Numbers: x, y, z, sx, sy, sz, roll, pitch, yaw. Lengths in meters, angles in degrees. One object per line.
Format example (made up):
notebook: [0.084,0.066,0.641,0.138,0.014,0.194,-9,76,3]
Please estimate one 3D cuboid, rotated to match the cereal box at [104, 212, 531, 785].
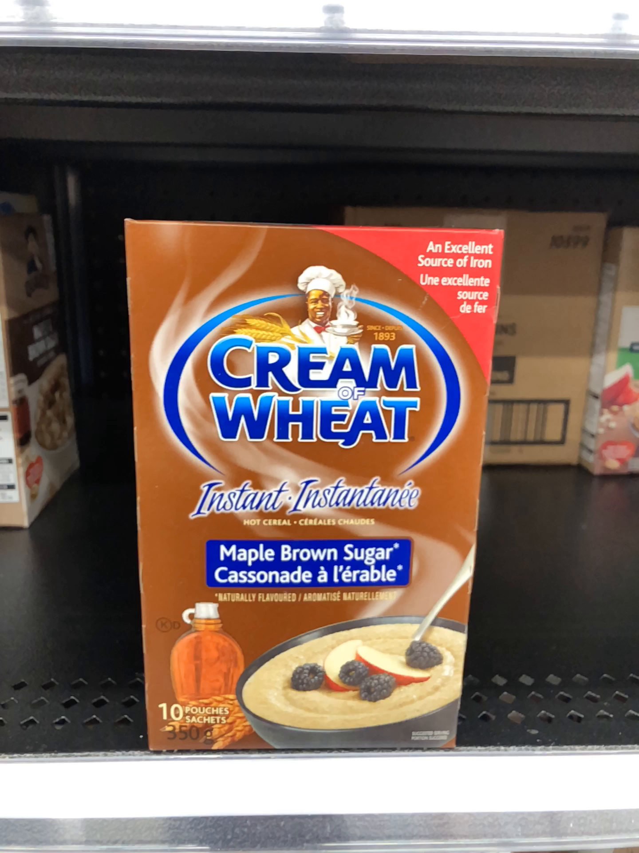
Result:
cereal box: [-0.003,0.028,0.275,0.130,0.209,0.060,0,17,-2]
